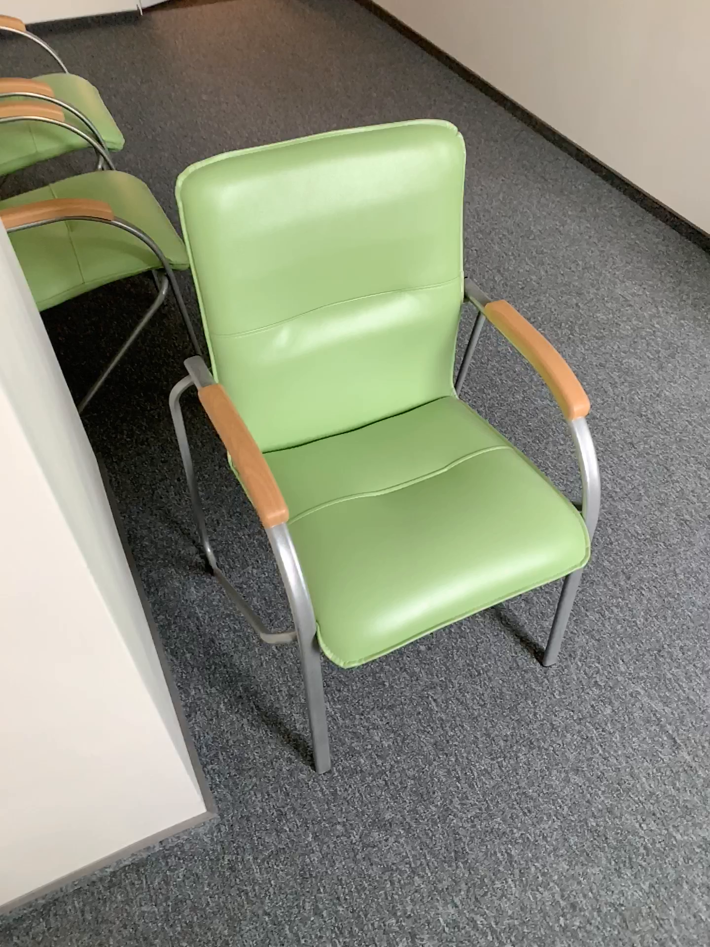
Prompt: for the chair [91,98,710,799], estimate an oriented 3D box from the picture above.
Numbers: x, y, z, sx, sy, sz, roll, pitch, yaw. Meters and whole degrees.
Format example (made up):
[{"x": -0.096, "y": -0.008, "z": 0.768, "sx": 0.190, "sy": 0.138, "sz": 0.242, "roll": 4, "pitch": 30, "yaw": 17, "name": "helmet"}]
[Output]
[{"x": 0.042, "y": -0.014, "z": 1.240, "sx": 0.621, "sy": 0.876, "sz": 0.622, "roll": -19, "pitch": 52, "yaw": -16, "name": "chair"}]
